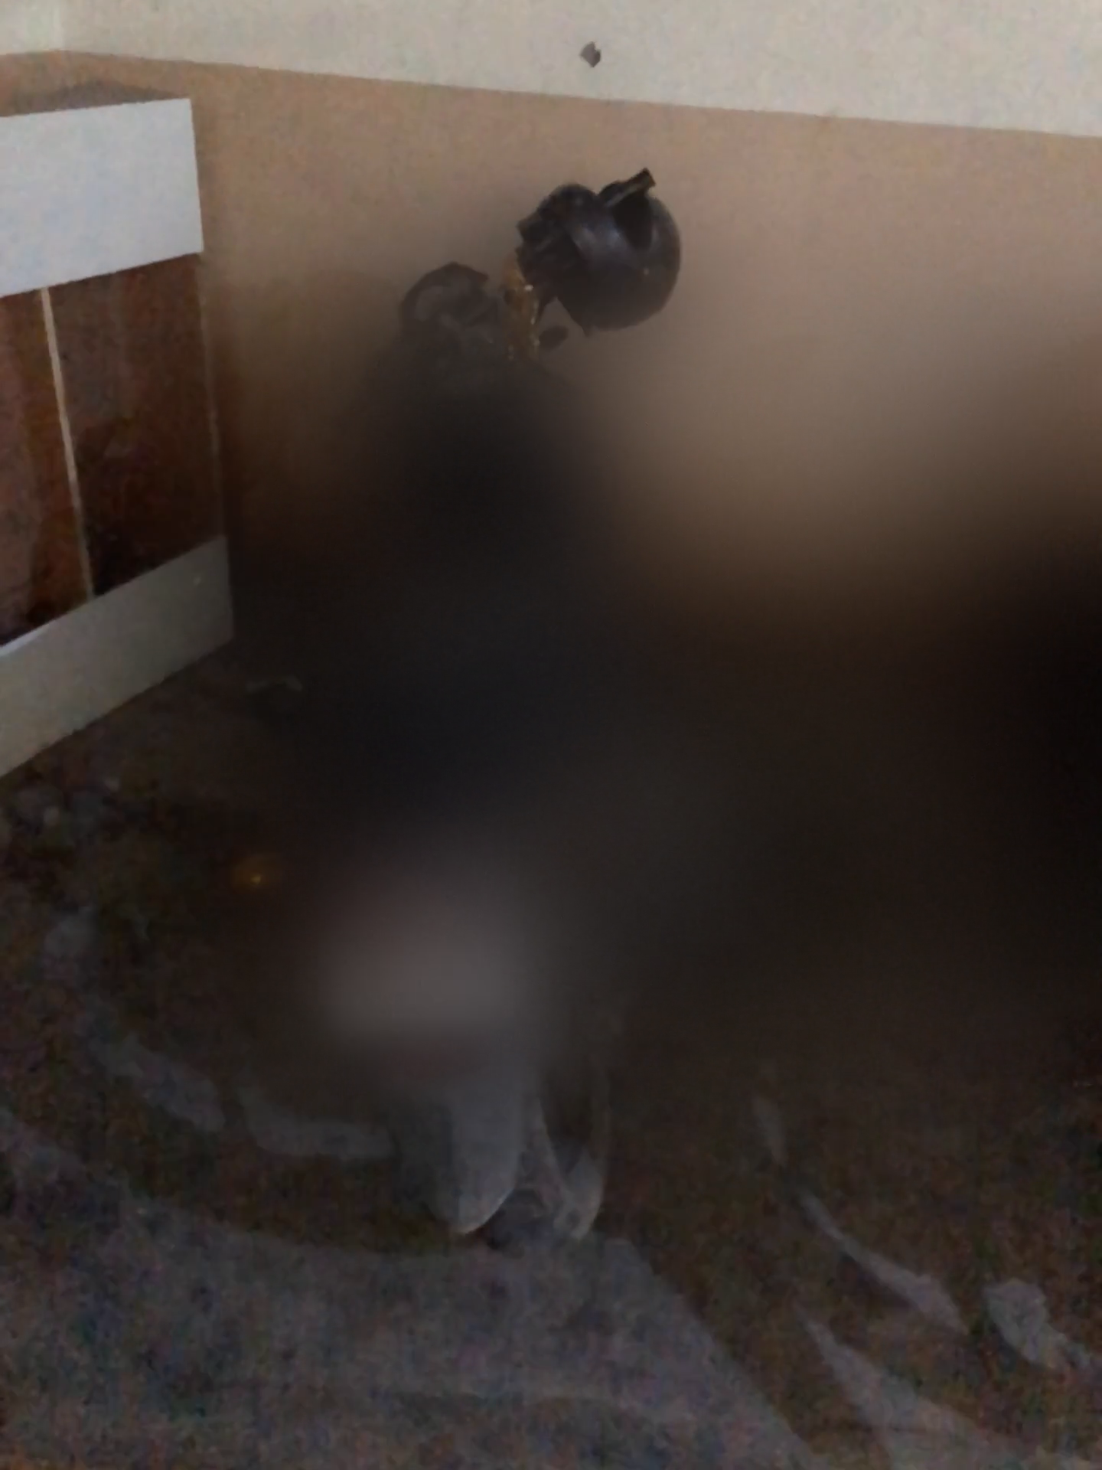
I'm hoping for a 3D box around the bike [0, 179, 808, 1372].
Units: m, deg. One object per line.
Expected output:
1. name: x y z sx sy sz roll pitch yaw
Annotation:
1. bike: -0.190 -0.137 1.974 0.717 1.179 1.712 4 32 -1
